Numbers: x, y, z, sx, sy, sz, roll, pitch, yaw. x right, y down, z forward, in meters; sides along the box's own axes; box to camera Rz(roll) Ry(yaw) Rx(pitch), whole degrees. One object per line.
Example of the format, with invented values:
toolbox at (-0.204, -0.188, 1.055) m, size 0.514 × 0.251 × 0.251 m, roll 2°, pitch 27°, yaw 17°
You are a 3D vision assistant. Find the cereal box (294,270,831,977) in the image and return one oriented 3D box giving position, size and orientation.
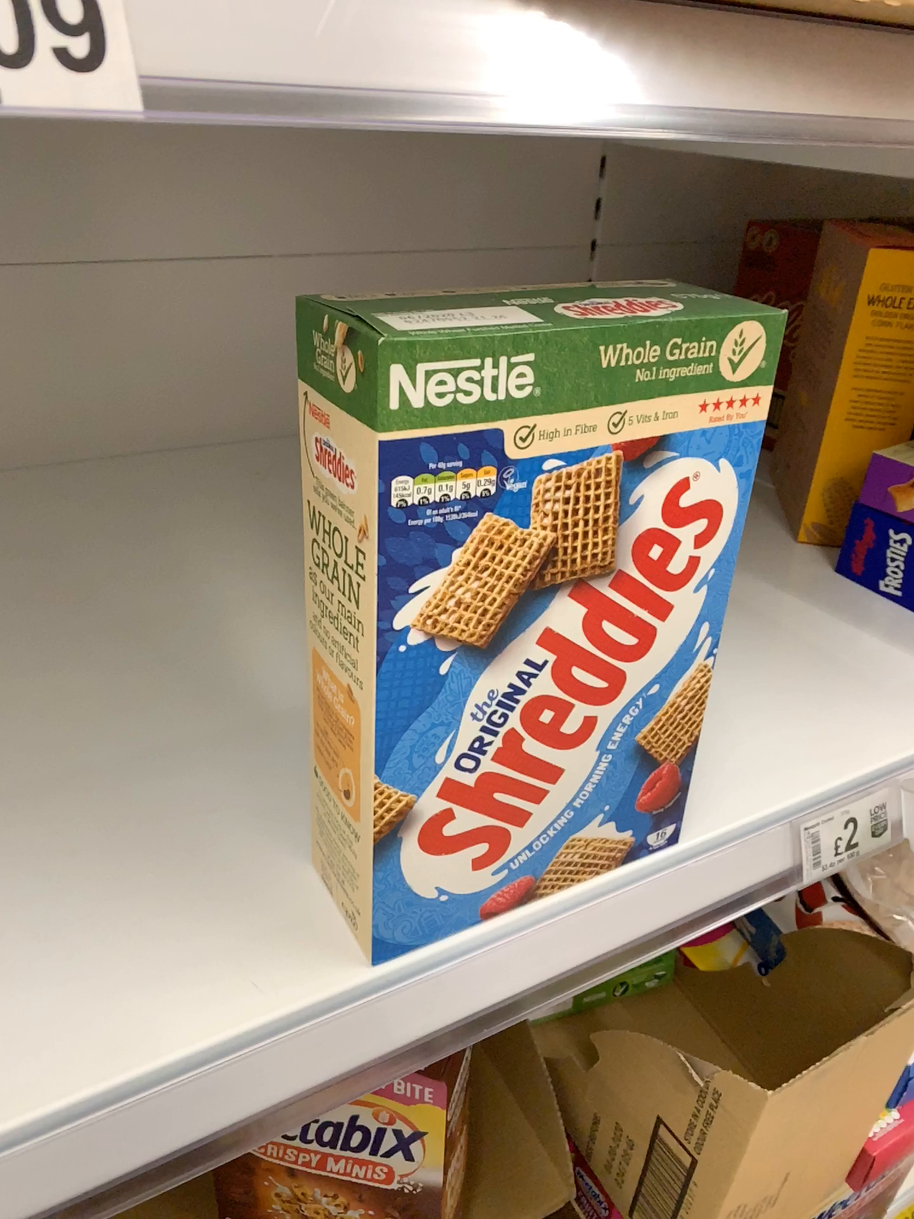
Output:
cereal box at (0.037, 0.003, 0.436) m, size 0.201 × 0.287 × 0.080 m, roll -12°, pitch 32°, yaw -27°
